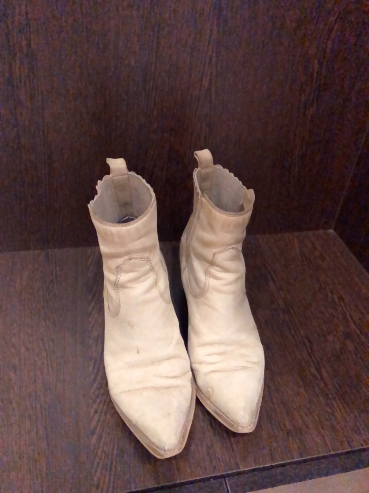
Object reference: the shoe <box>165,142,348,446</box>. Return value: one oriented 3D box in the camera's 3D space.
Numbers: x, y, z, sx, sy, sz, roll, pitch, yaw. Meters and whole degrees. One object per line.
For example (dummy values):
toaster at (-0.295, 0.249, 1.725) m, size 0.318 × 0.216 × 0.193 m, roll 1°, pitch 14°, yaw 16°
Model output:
shoe at (0.042, 0.028, 0.437) m, size 0.100 × 0.169 × 0.281 m, roll -1°, pitch 38°, yaw -7°

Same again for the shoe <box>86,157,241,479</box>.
shoe at (-0.040, 0.049, 0.419) m, size 0.100 × 0.169 × 0.271 m, roll -5°, pitch 39°, yaw -10°
